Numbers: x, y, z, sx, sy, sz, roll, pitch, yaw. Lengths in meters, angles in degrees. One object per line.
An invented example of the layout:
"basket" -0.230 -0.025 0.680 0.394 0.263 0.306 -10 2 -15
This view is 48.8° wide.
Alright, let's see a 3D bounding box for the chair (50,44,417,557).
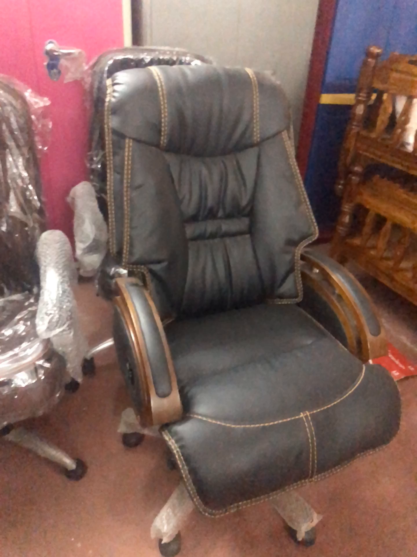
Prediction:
"chair" 0.092 0.041 1.105 0.702 0.995 0.793 -10 33 -21
